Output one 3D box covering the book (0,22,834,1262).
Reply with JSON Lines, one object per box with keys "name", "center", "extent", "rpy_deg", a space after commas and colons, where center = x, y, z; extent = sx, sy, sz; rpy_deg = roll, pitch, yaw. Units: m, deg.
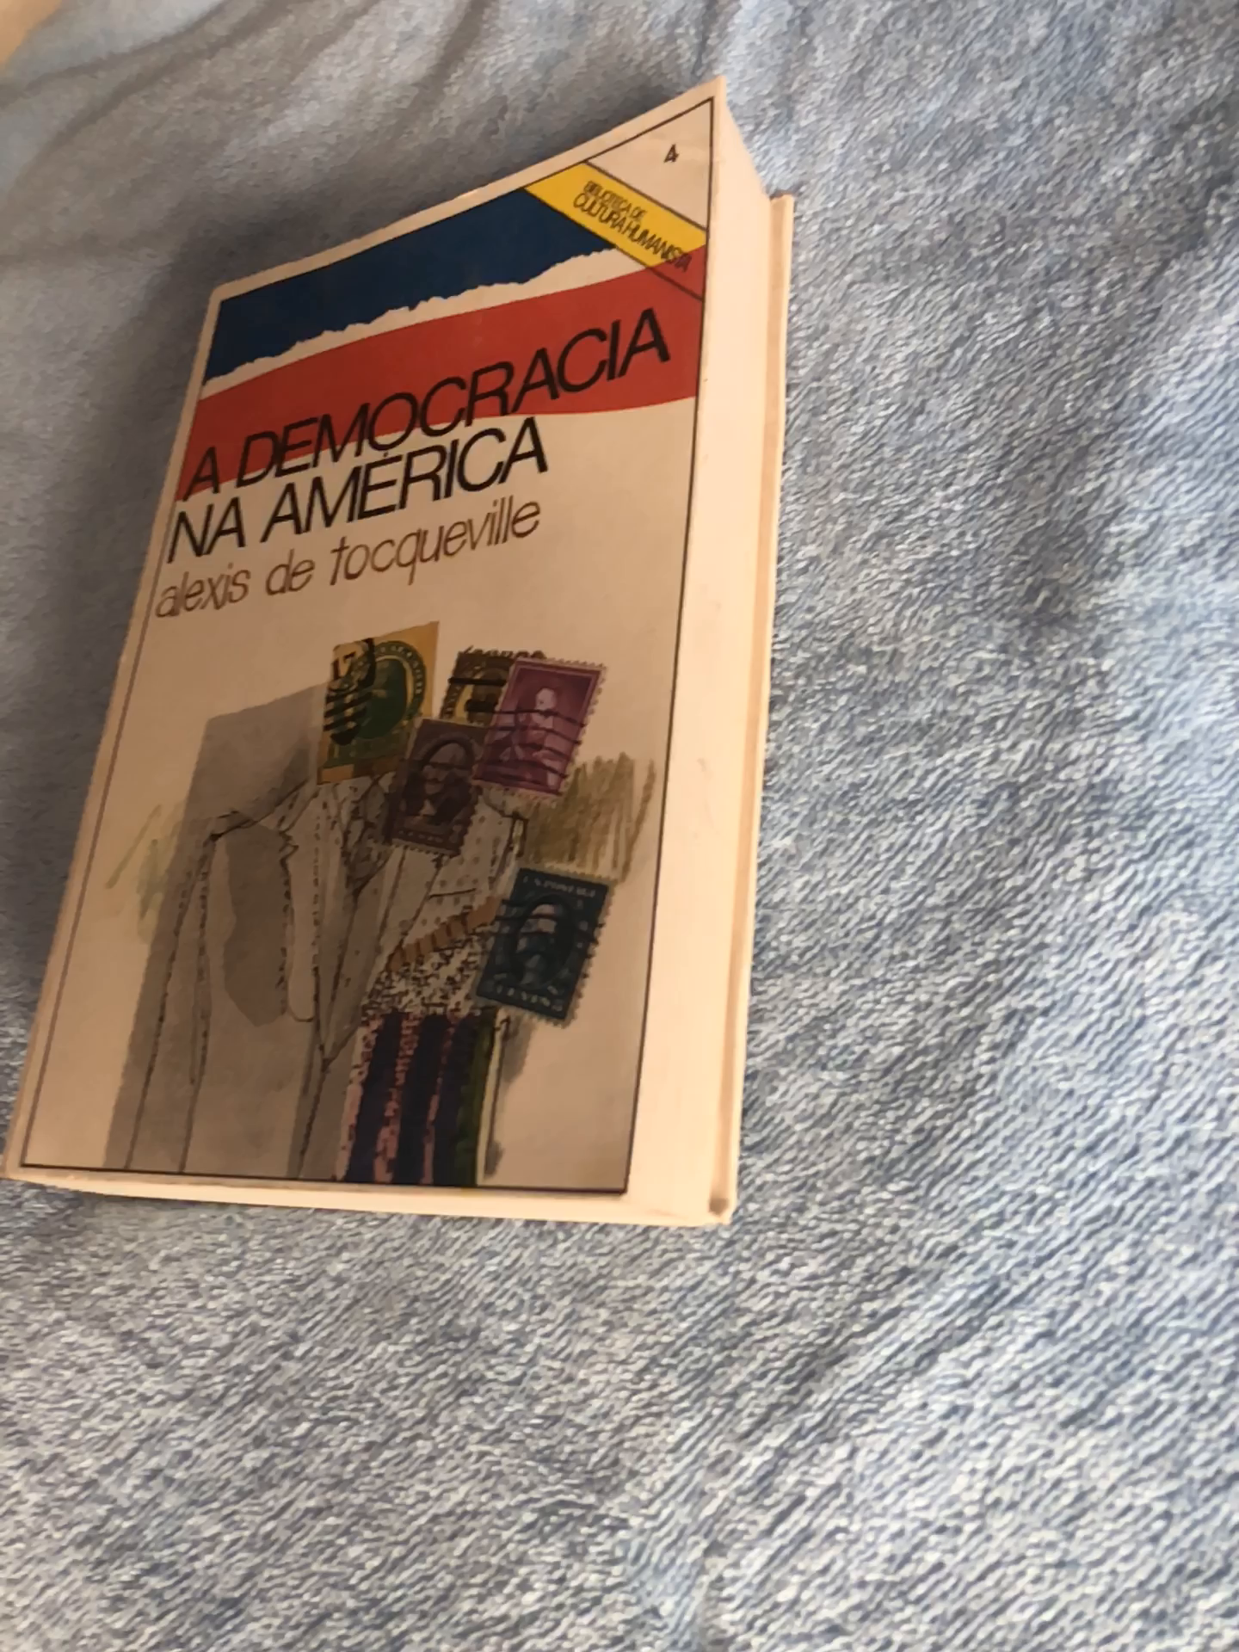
{"name": "book", "center": [-0.037, -0.028, 0.260], "extent": [0.140, 0.050, 0.200], "rpy_deg": [-5, 71, 29]}
